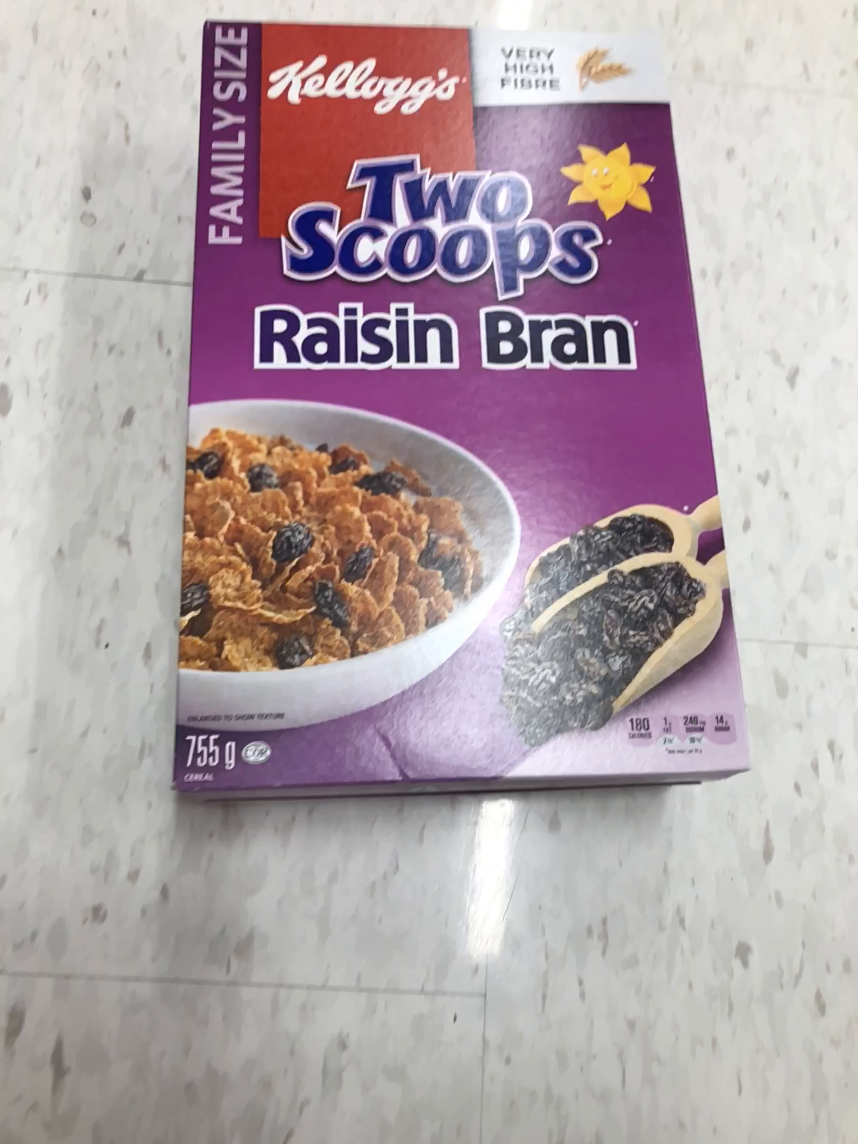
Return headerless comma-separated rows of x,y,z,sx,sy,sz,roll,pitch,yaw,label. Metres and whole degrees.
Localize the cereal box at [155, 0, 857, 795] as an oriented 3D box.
0.020,-0.072,0.372,0.220,0.080,0.301,-1,73,-4,cereal box
